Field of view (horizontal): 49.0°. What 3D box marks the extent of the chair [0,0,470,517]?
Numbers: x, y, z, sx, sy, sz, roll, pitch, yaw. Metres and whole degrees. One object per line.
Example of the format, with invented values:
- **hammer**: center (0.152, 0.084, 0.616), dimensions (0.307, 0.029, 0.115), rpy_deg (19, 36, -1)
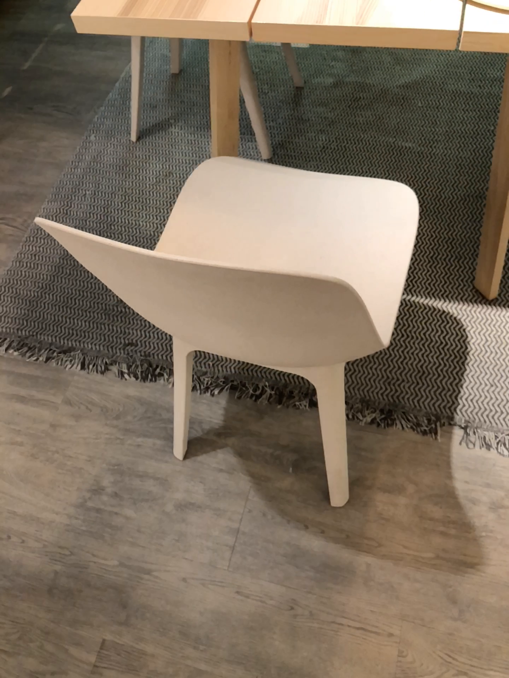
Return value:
- **chair**: center (0.014, -0.105, 0.948), dimensions (0.461, 0.766, 0.512), rpy_deg (11, 61, 14)
